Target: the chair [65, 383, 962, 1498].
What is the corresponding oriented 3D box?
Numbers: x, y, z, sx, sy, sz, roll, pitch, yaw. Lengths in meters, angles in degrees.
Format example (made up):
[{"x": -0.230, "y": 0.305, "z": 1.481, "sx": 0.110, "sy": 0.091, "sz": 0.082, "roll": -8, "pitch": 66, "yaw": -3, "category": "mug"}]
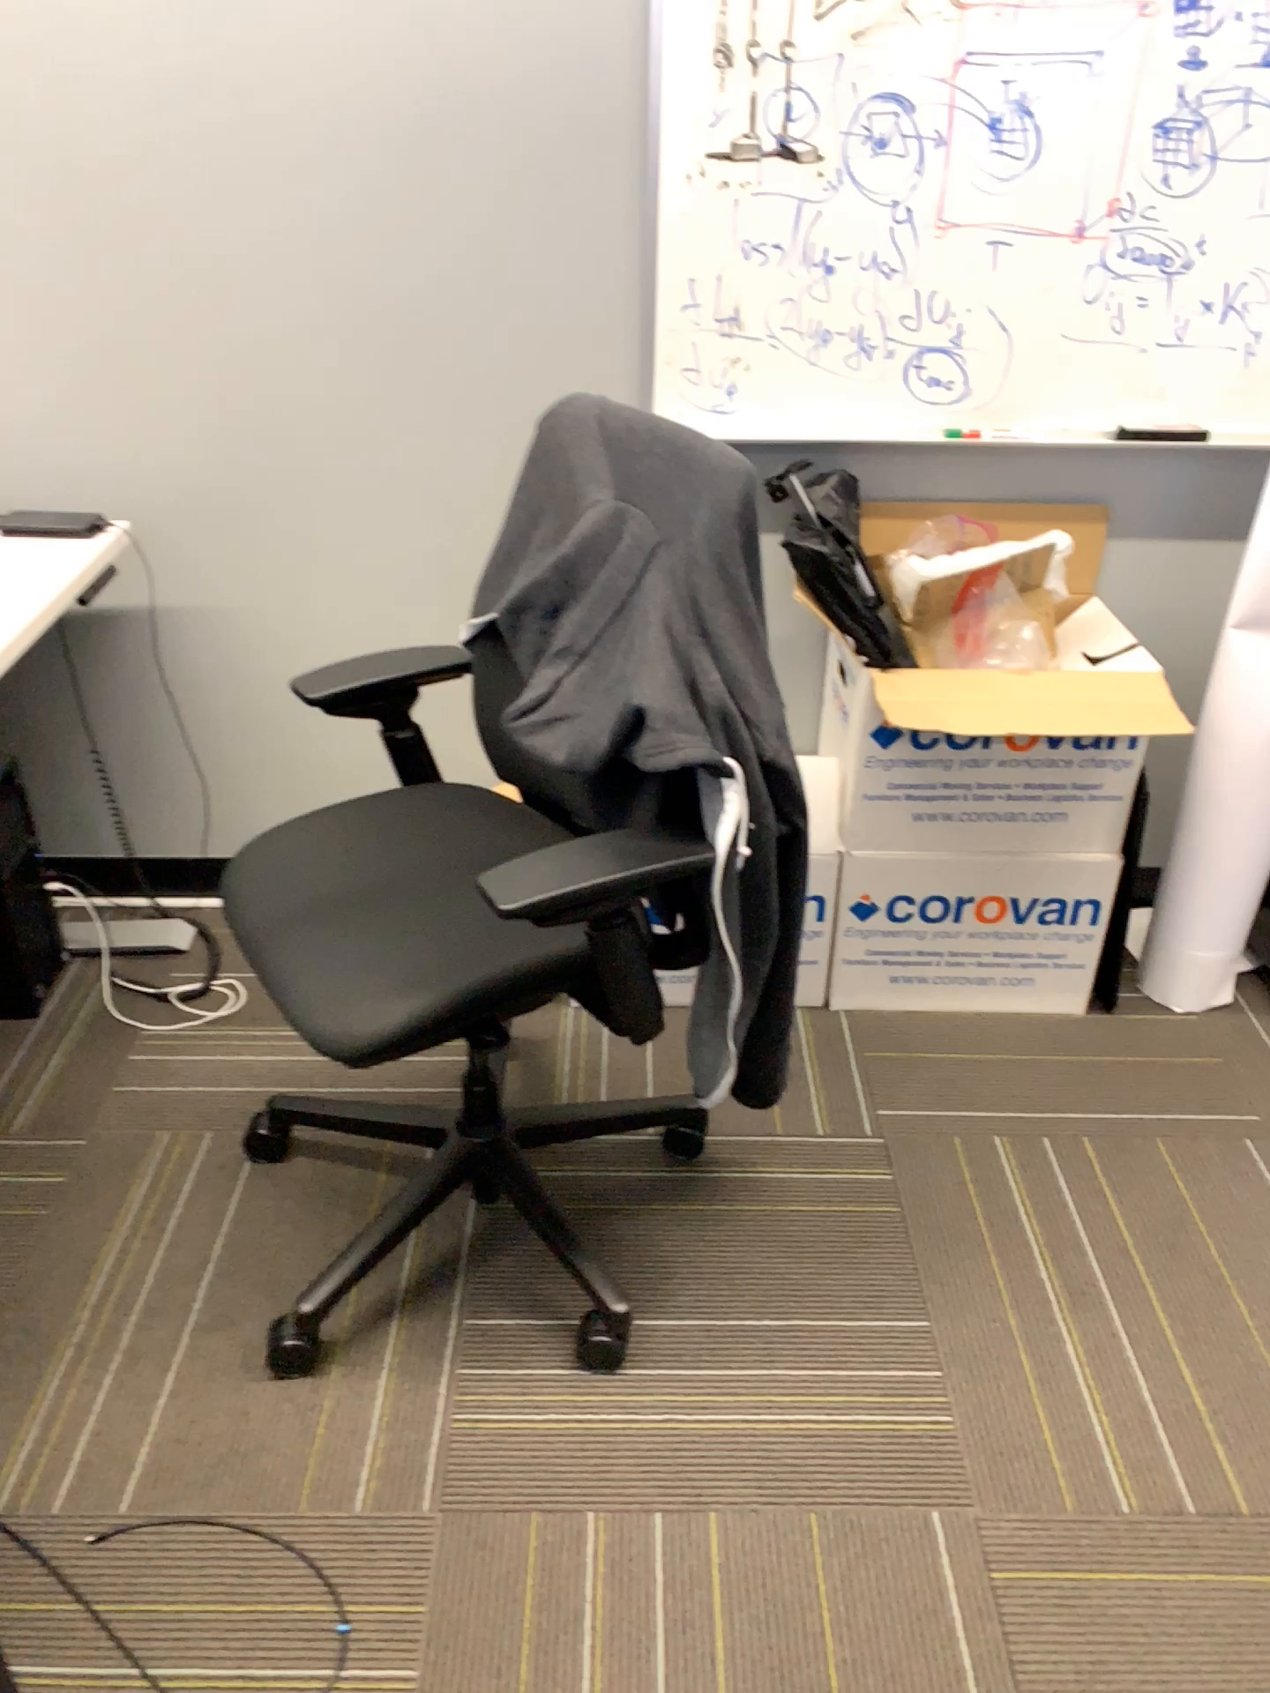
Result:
[{"x": -0.198, "y": 0.038, "z": 1.606, "sx": 0.730, "sy": 0.994, "sz": 0.775, "roll": -12, "pitch": 33, "yaw": -21, "category": "chair"}]
